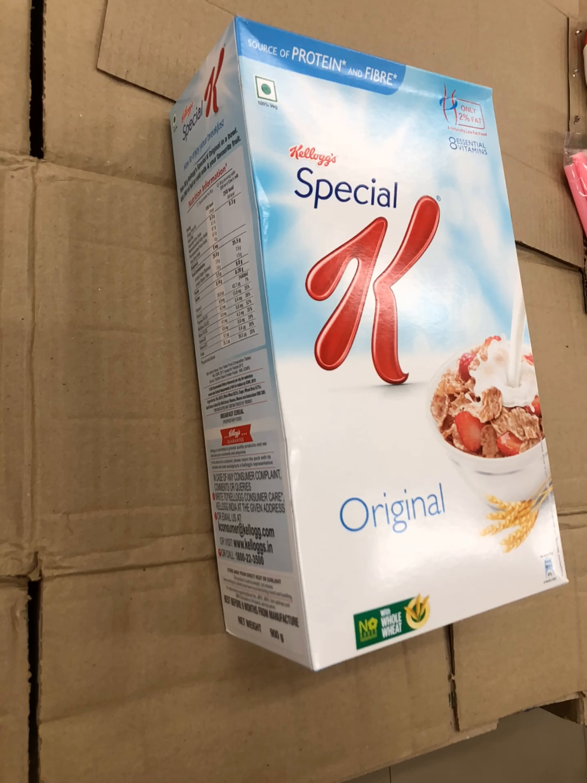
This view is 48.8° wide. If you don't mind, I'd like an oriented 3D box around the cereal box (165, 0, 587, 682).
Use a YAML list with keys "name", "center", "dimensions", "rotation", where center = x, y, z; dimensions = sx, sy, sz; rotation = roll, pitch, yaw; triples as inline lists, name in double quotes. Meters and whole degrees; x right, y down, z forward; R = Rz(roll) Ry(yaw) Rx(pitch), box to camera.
- name: "cereal box"
  center: [0.046, -0.028, 0.367]
  dimensions: [0.181, 0.099, 0.300]
  rotation: [-4, 84, -32]
